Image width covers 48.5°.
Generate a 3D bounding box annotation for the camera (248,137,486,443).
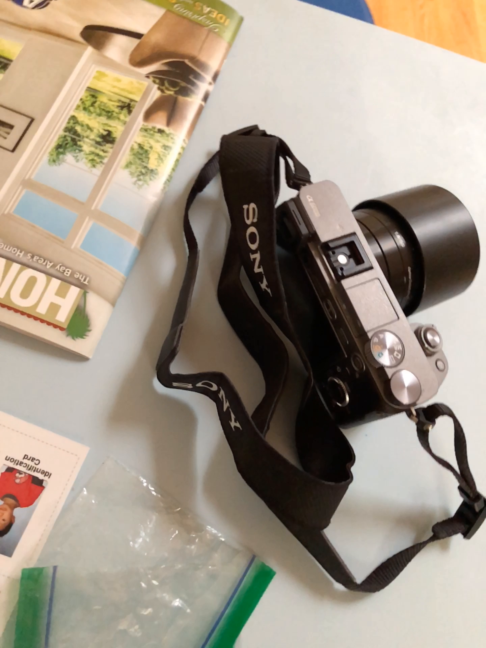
[{"bbox_3d":[0.086,-0.020,0.303,0.110,0.070,0.130,-19,77,-23],"label":"camera"}]
